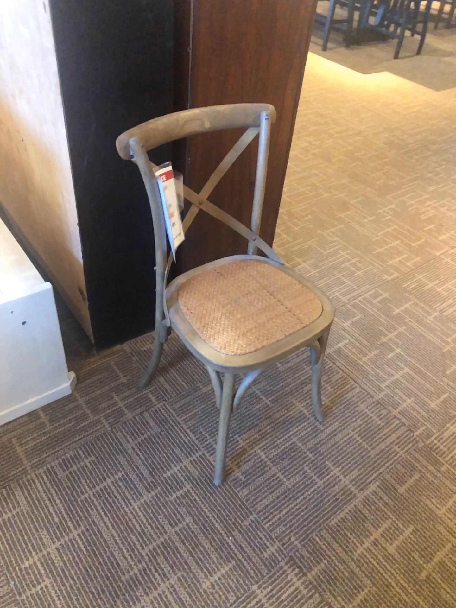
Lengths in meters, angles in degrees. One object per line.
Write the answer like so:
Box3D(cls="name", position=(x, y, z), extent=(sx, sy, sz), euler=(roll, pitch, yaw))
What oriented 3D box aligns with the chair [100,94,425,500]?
Box3D(cls="chair", position=(0.022, -0.017, 1.368), extent=(0.491, 0.860, 0.531), euler=(-22, 48, -29))
